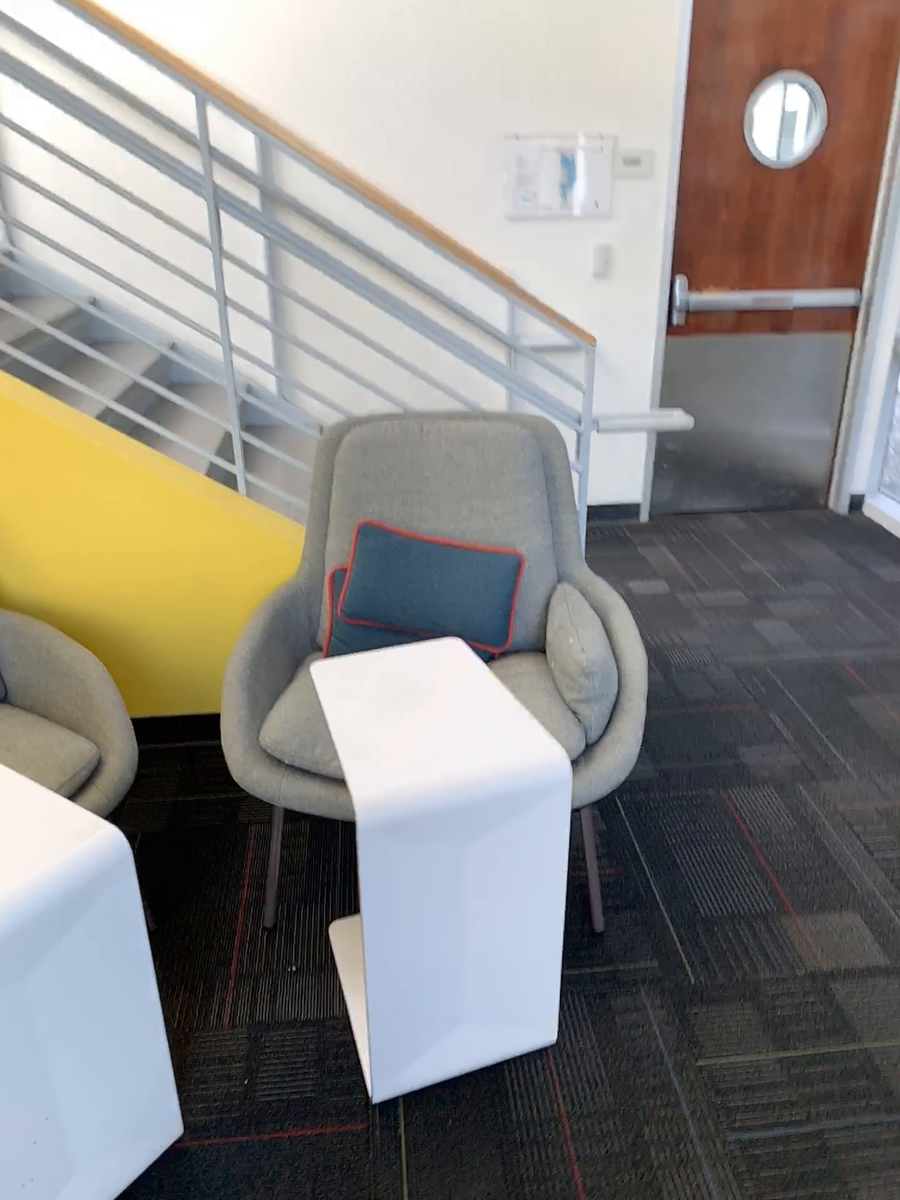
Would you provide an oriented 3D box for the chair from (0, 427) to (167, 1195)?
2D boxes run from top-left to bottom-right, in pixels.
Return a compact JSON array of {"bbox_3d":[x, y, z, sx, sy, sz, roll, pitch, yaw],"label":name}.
[{"bbox_3d":[-1.291,0.285,1.908,0.843,1.015,0.892,17,31,40],"label":"chair"}]

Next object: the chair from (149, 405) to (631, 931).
[{"bbox_3d":[-0.069,0.085,2.219,0.870,0.945,0.884,1,21,5],"label":"chair"}]
